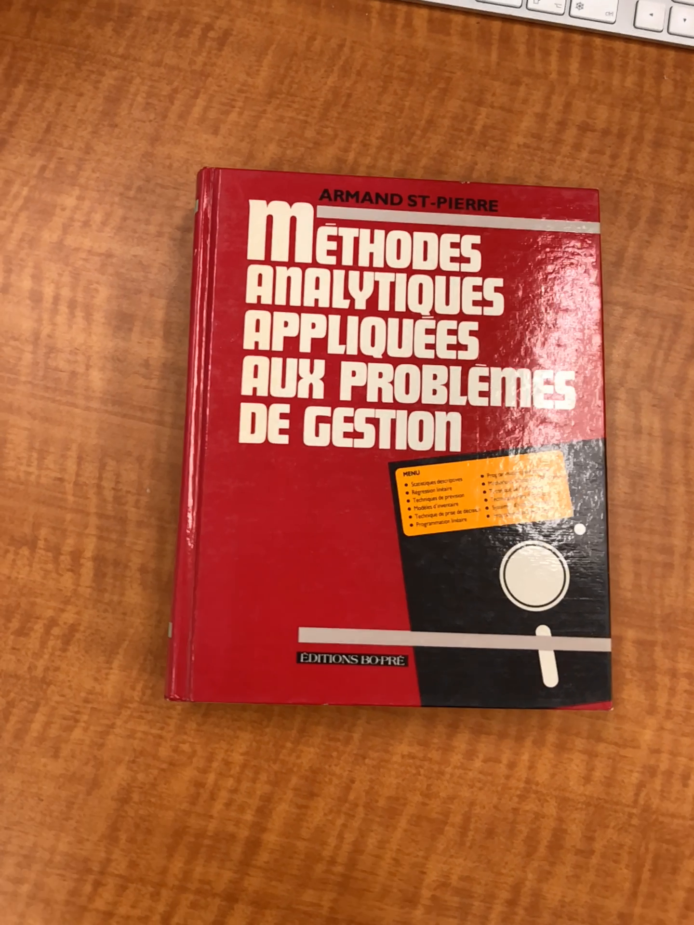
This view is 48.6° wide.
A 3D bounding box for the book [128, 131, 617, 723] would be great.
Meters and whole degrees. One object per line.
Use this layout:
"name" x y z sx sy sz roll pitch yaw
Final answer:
"book" 0.015 -0.017 0.355 0.200 0.050 0.250 2 82 -3
